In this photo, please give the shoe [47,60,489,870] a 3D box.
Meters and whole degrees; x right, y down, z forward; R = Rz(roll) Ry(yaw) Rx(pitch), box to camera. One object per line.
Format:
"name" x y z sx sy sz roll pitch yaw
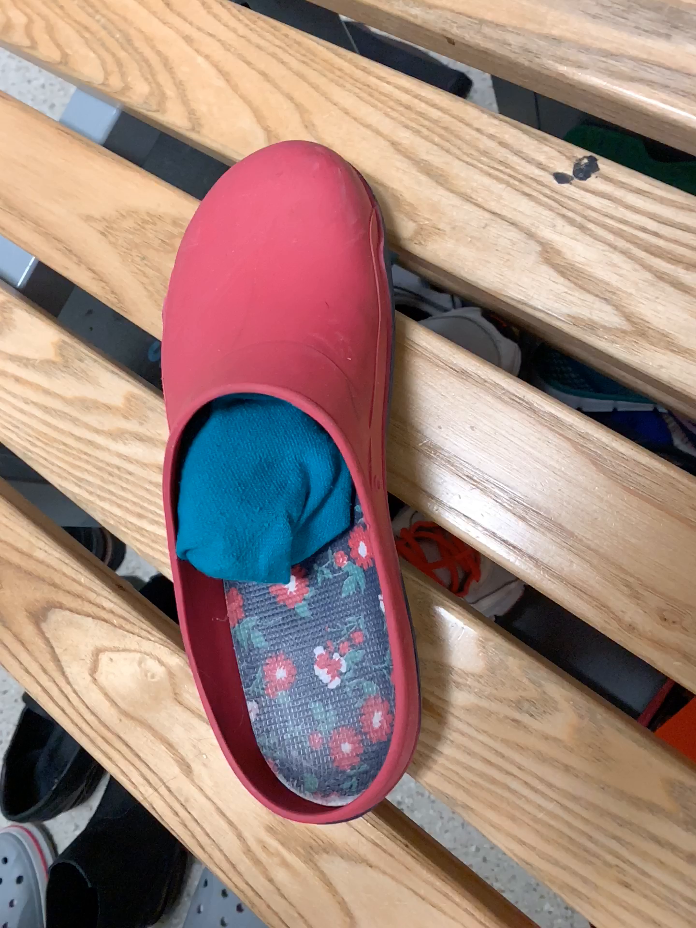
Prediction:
"shoe" -0.029 0.002 0.260 0.106 0.077 0.238 -12 80 17
